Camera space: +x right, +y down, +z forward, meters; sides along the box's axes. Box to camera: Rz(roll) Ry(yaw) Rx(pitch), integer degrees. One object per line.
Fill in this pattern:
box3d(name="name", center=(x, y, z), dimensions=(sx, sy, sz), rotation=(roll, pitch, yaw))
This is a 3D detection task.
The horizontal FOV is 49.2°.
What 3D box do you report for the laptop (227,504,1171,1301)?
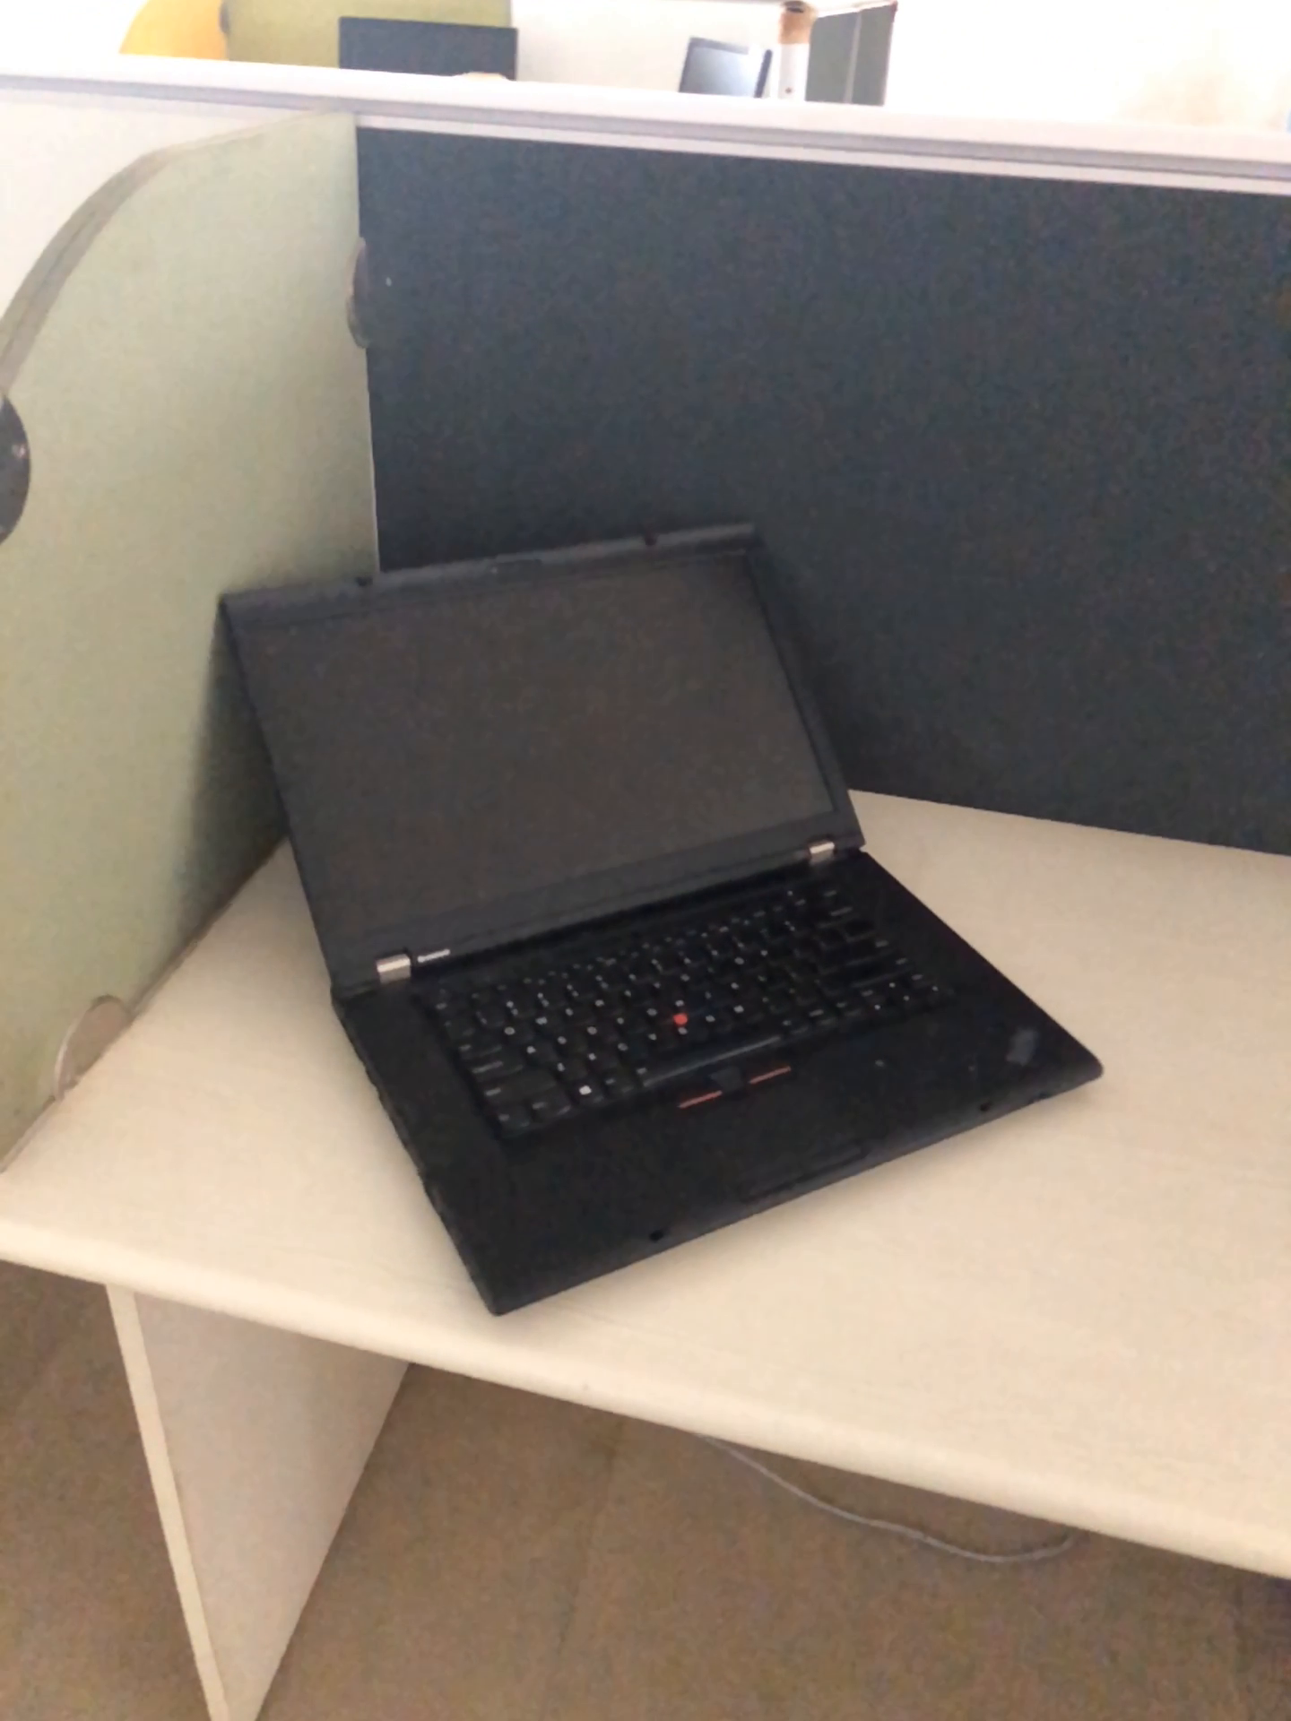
box3d(name="laptop", center=(0.002, -0.025, 0.799), dimensions=(0.356, 0.167, 0.406), rotation=(-15, 39, -24))
